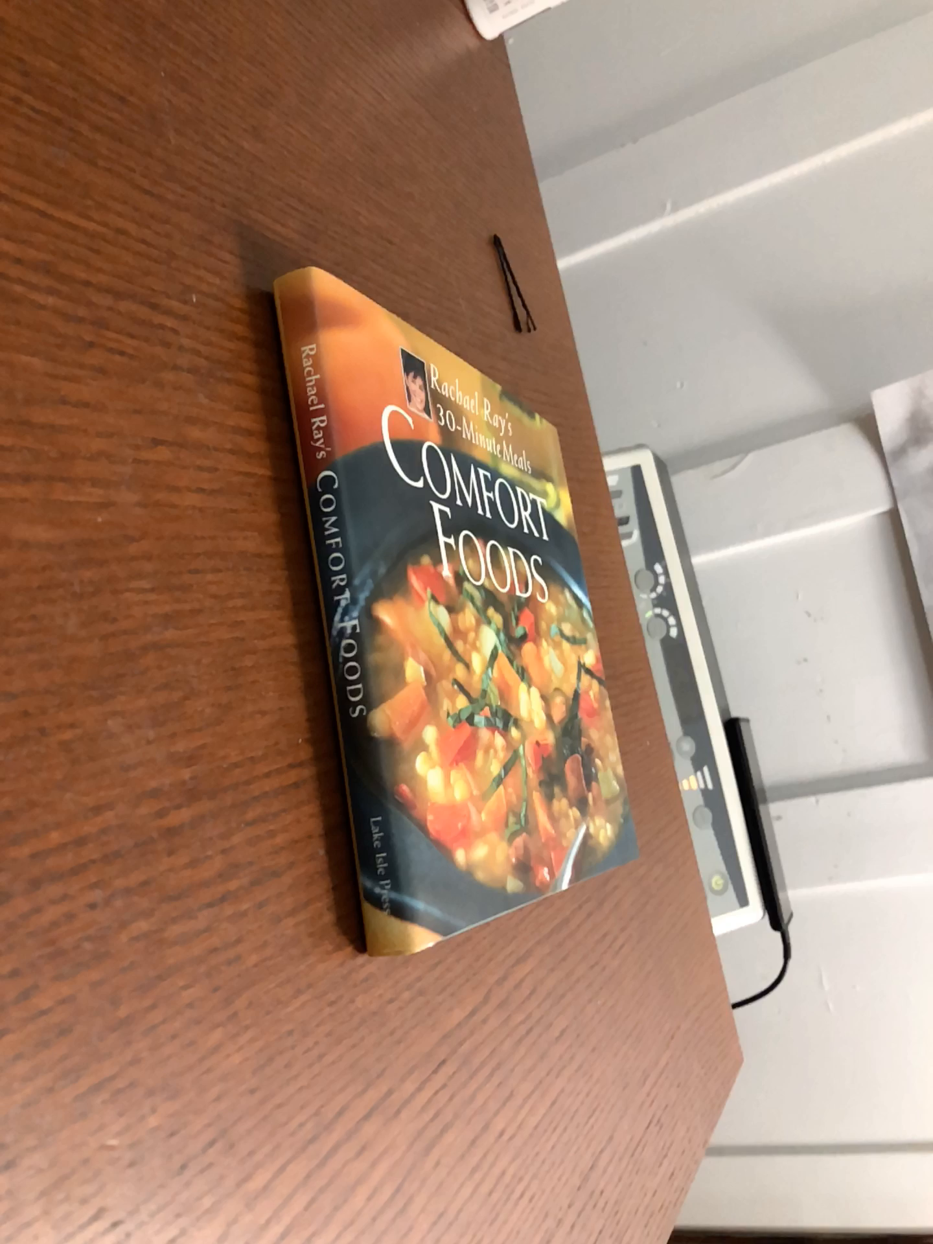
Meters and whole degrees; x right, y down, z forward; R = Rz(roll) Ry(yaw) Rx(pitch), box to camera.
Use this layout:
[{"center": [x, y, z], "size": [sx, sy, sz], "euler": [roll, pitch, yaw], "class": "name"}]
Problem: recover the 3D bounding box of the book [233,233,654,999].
[{"center": [0.005, 0.002, 0.373], "size": [0.201, 0.030, 0.210], "euler": [10, 68, -63], "class": "book"}]
